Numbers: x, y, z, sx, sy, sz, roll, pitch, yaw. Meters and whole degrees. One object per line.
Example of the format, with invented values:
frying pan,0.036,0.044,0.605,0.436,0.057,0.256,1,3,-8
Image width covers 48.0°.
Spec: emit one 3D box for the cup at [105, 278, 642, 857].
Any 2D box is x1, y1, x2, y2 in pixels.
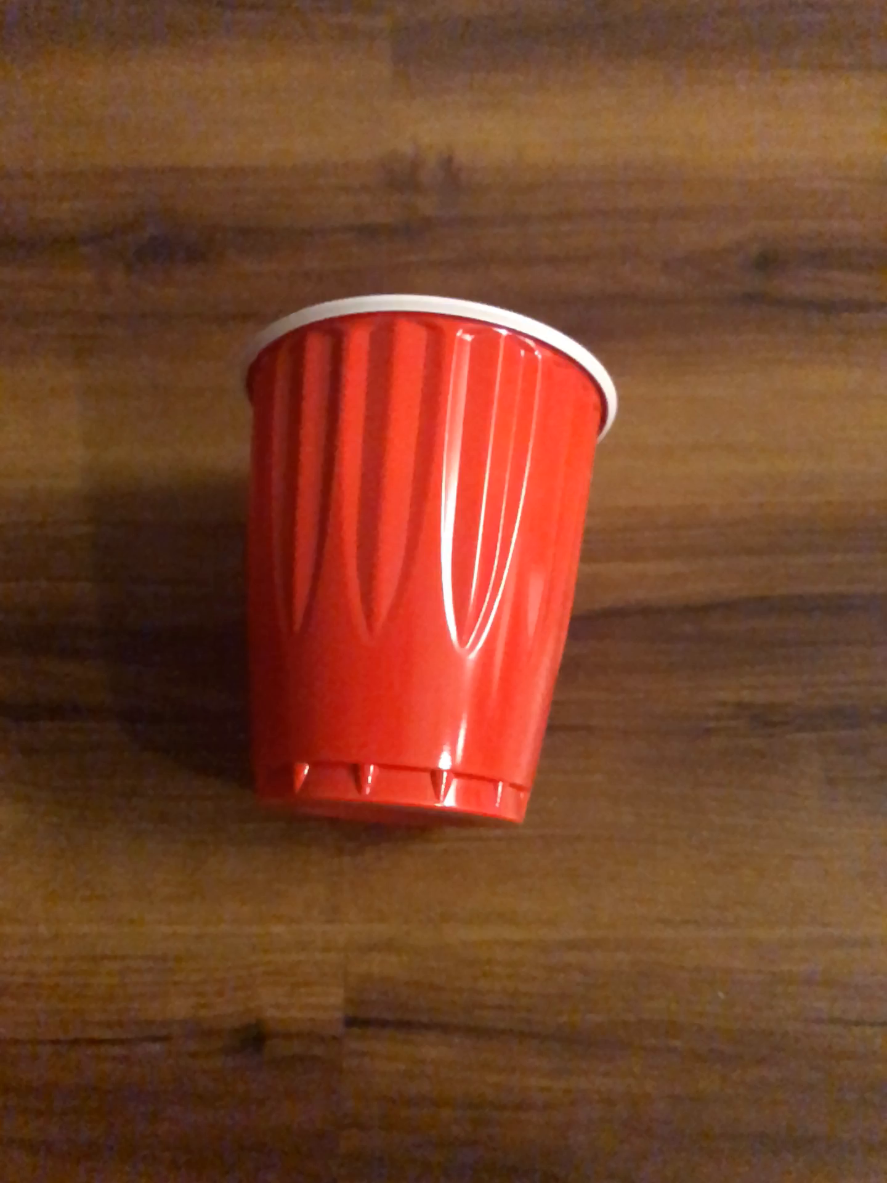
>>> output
cup,-0.010,0.000,0.252,0.099,0.089,0.115,5,72,3
